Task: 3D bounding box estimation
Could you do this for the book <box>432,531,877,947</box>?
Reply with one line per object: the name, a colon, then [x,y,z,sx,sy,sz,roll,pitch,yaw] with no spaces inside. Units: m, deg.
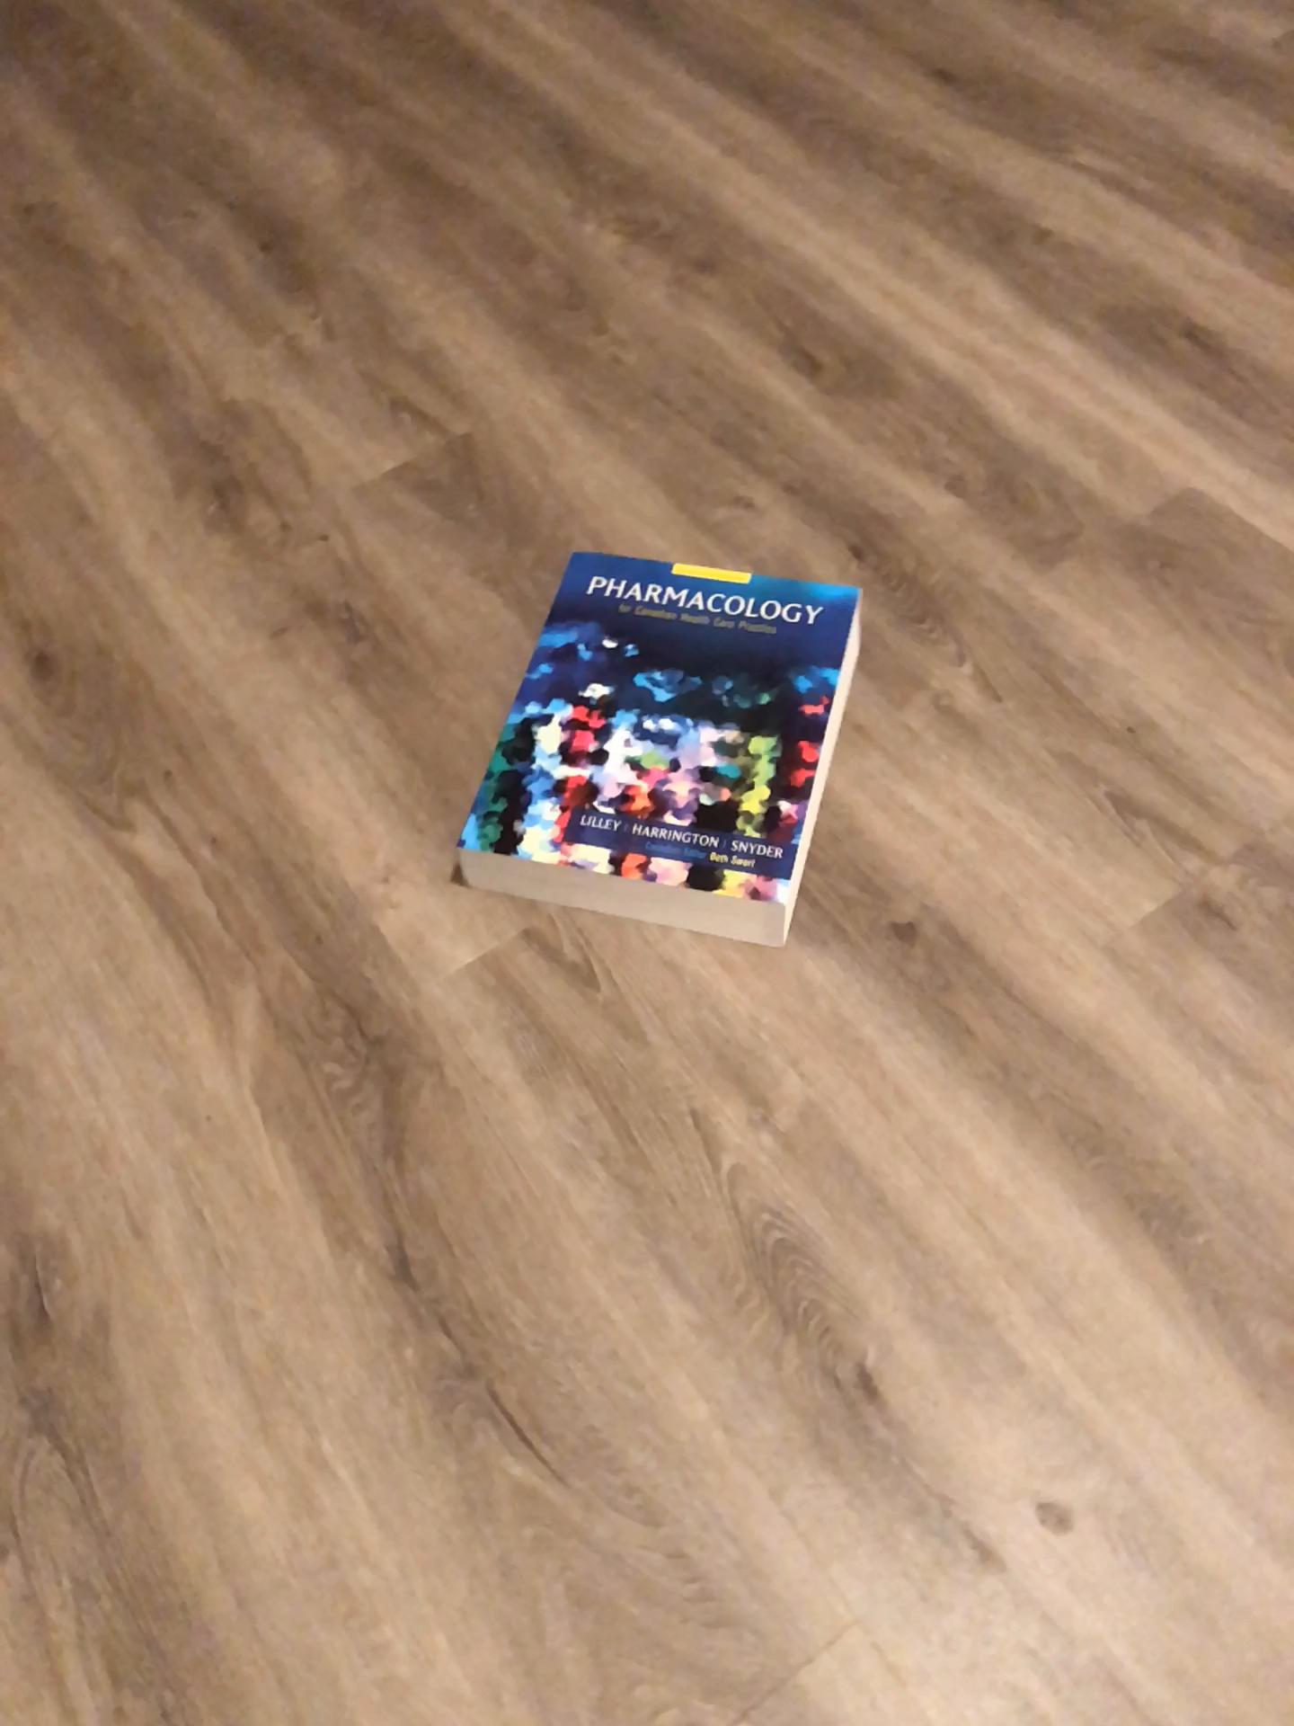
book: [0.015,-0.093,0.938,0.228,0.046,0.278,9,56,11]
